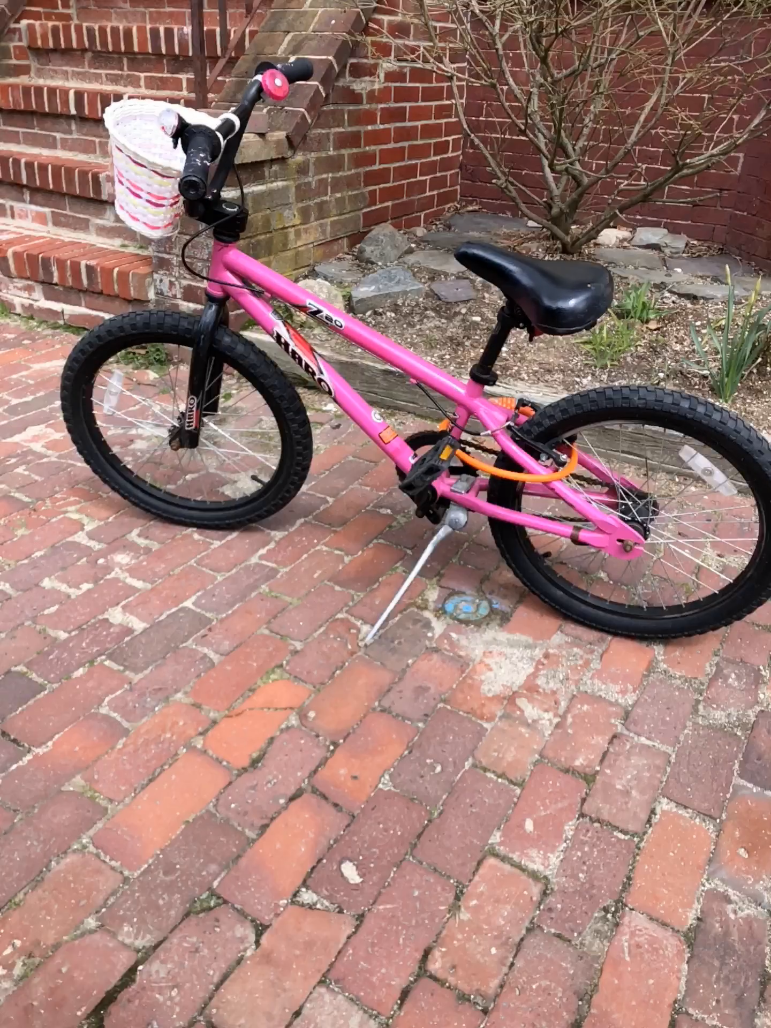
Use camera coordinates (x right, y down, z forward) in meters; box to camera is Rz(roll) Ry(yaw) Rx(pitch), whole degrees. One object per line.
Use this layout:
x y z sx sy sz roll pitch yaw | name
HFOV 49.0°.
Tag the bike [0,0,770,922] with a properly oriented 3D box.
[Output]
-0.021 -0.205 1.288 1.338 0.906 0.715 13 30 14 | bike
